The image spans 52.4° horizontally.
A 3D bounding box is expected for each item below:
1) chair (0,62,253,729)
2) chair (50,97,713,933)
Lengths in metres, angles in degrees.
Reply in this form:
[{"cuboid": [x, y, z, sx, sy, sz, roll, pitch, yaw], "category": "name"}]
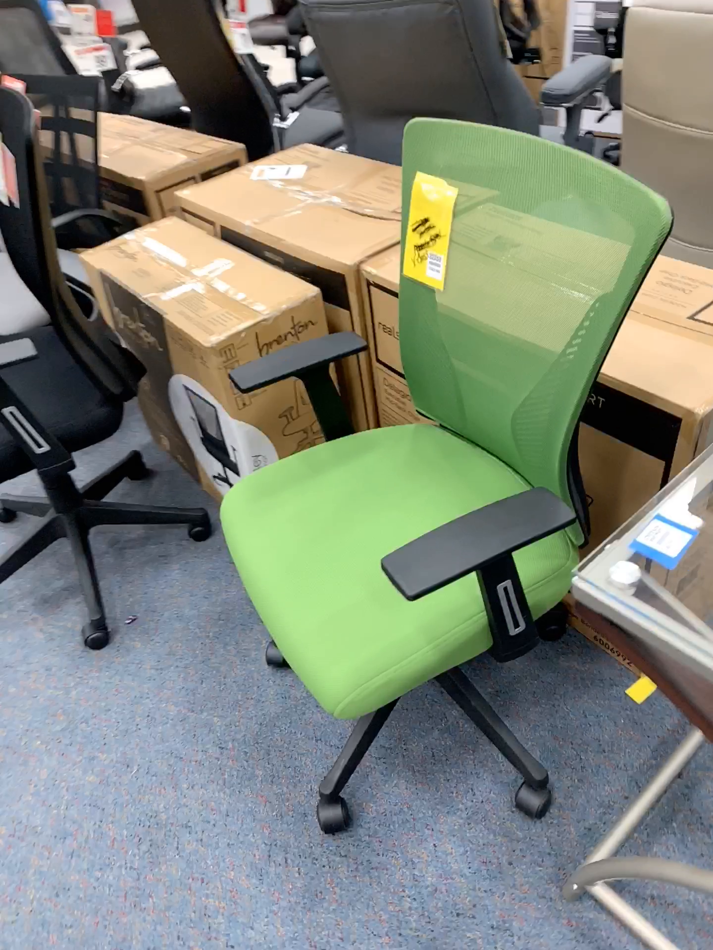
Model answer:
[{"cuboid": [-0.725, -0.164, 1.439, 0.657, 0.972, 0.647, -23, 42, -16], "category": "chair"}, {"cuboid": [0.062, 0.048, 1.096, 0.597, 0.912, 0.647, -23, 42, -16], "category": "chair"}]
